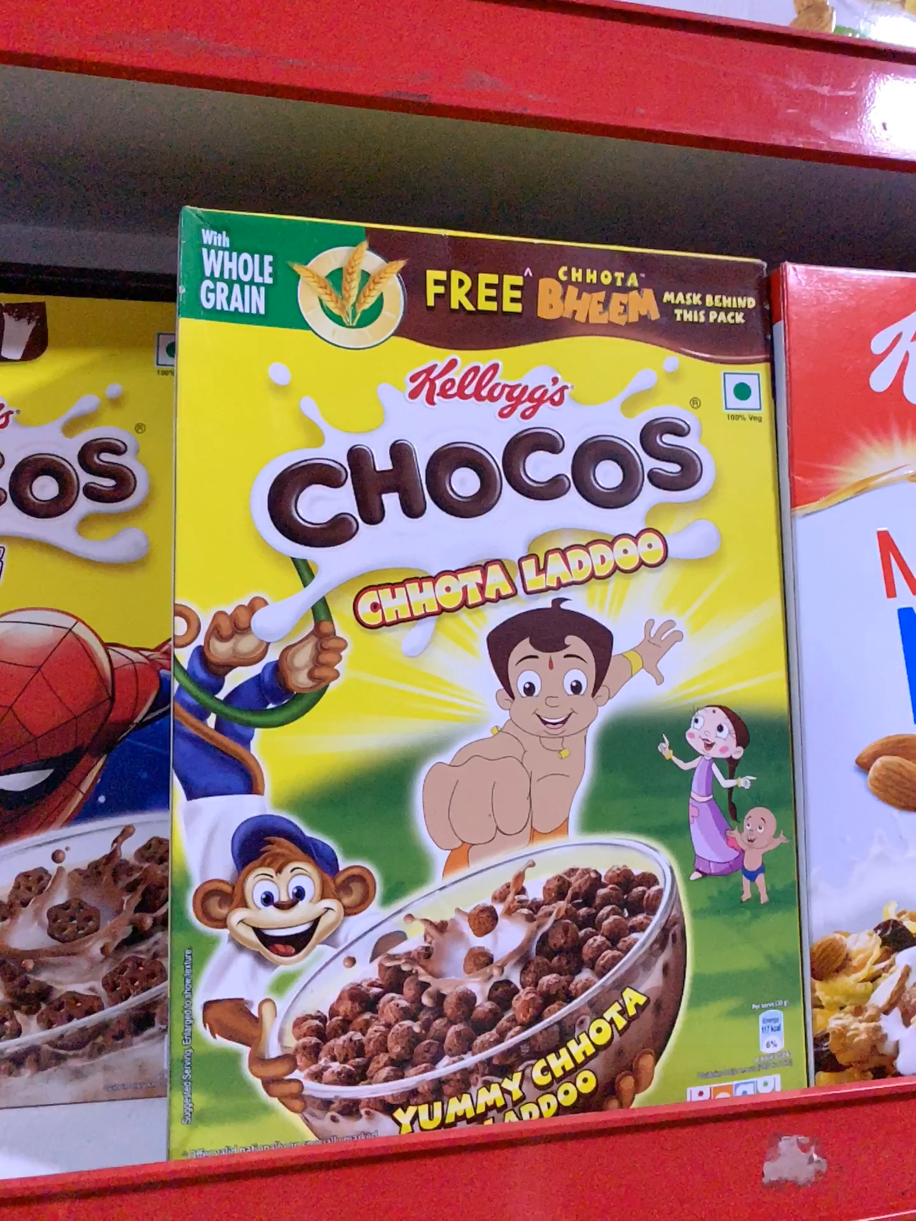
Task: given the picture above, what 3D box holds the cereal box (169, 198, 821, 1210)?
[{"bbox_3d":[0.007,0.021,0.301,0.180,0.261,0.070,0,-5,-13],"label":"cereal box"}]
